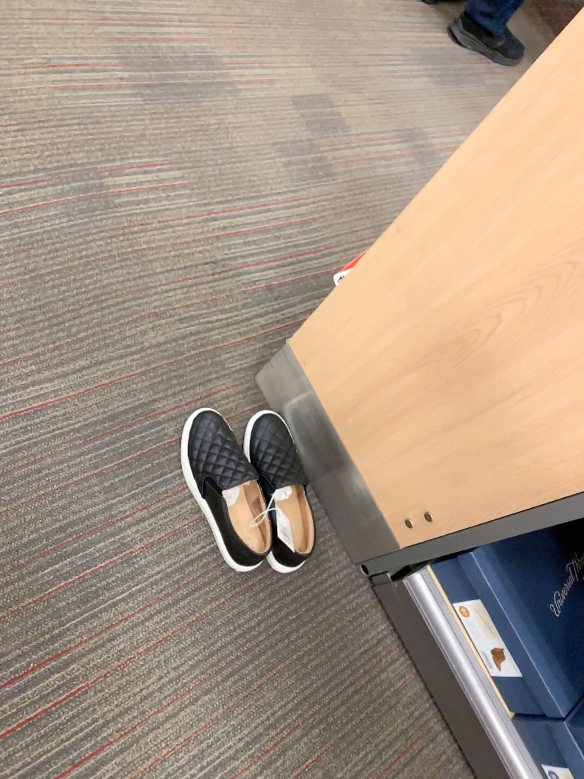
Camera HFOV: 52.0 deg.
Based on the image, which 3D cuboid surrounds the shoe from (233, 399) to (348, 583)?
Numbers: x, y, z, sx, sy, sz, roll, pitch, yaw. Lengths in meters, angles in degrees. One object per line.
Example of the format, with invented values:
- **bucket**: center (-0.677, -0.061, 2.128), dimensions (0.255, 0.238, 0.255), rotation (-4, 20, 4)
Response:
- **shoe**: center (-0.009, 0.155, 0.942), dimensions (0.100, 0.100, 0.260), rotation (-1, 67, -27)

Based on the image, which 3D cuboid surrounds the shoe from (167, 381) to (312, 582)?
- **shoe**: center (-0.083, 0.133, 0.886), dimensions (0.100, 0.100, 0.260), rotation (-15, 74, -32)
